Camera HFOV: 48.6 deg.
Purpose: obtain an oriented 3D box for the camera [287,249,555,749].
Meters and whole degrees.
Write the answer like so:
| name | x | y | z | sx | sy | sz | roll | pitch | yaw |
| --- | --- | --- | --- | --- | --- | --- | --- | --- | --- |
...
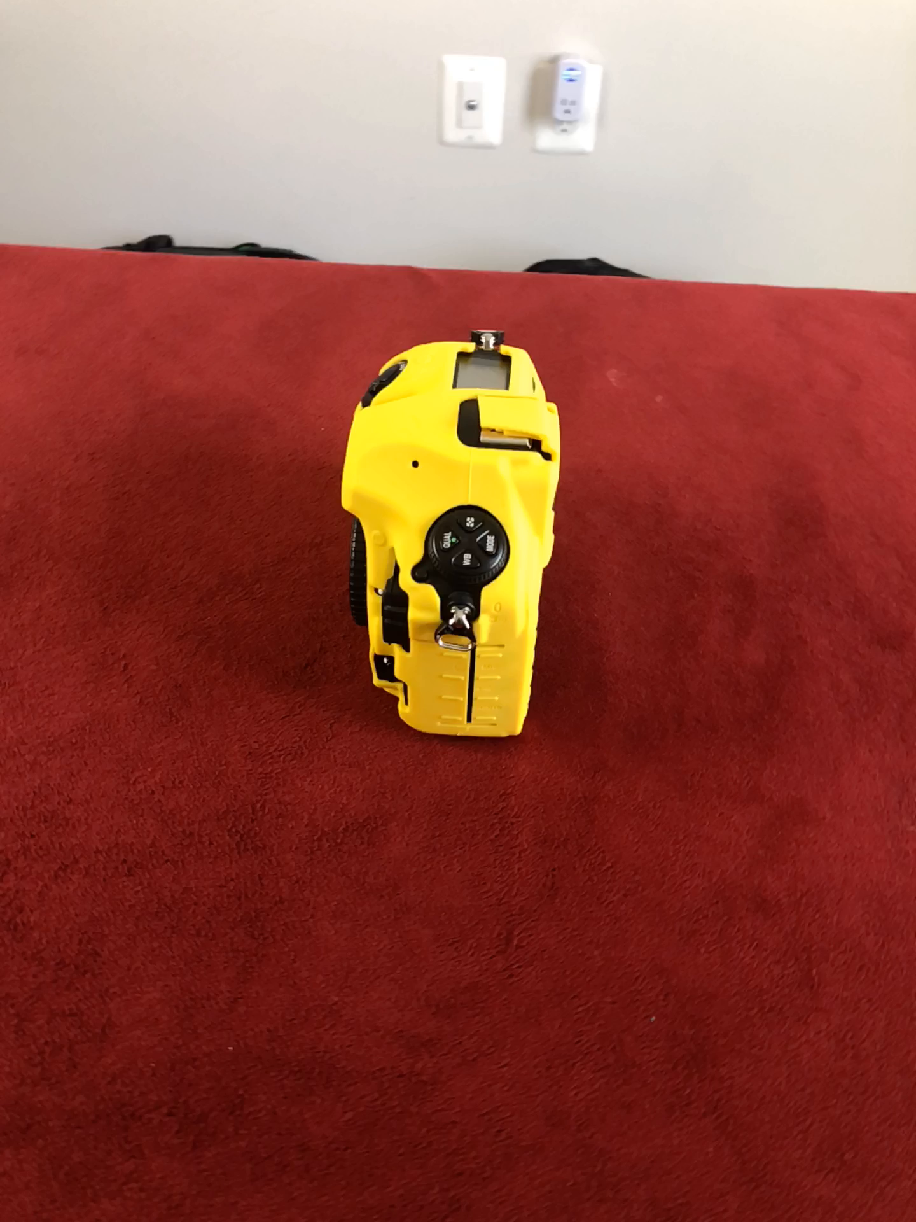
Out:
| name | x | y | z | sx | sy | sz | roll | pitch | yaw |
| --- | --- | --- | --- | --- | --- | --- | --- | --- | --- |
| camera | -0.008 | -0.047 | 0.406 | 0.082 | 0.116 | 0.161 | 3 | 50 | 2 |
